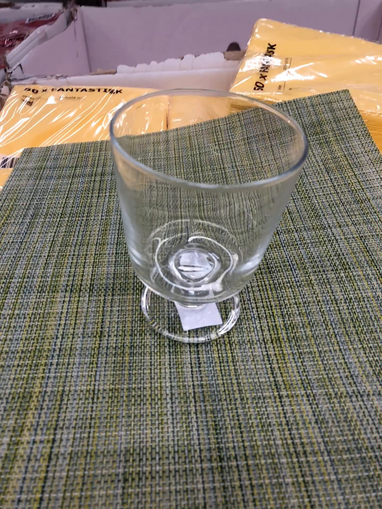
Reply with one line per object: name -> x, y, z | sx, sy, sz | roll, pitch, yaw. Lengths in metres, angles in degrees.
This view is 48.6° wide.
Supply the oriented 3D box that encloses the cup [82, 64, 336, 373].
cup -> 0.009, -0.018, 0.217 | 0.090, 0.110, 0.090 | 4, 44, -4
